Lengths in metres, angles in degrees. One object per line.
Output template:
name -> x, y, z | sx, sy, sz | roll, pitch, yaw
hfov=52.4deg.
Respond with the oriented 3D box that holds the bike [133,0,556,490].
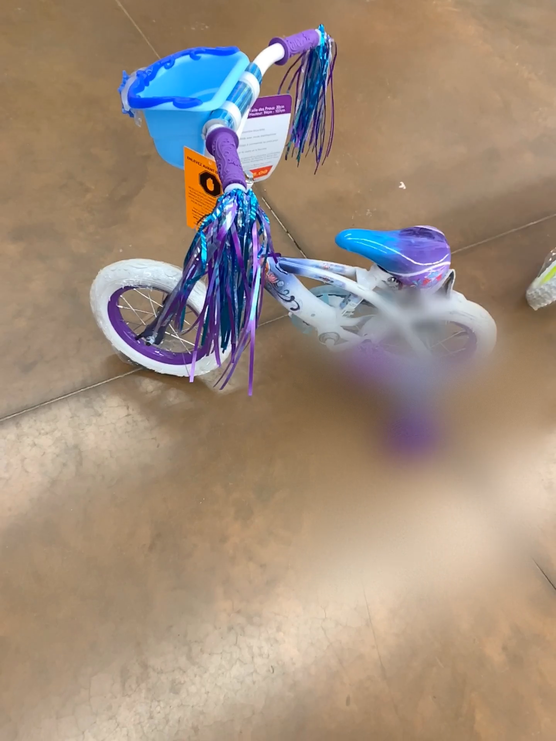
bike -> 0.144, -0.148, 0.982 | 0.651, 0.644, 0.474 | 2, 57, -10
